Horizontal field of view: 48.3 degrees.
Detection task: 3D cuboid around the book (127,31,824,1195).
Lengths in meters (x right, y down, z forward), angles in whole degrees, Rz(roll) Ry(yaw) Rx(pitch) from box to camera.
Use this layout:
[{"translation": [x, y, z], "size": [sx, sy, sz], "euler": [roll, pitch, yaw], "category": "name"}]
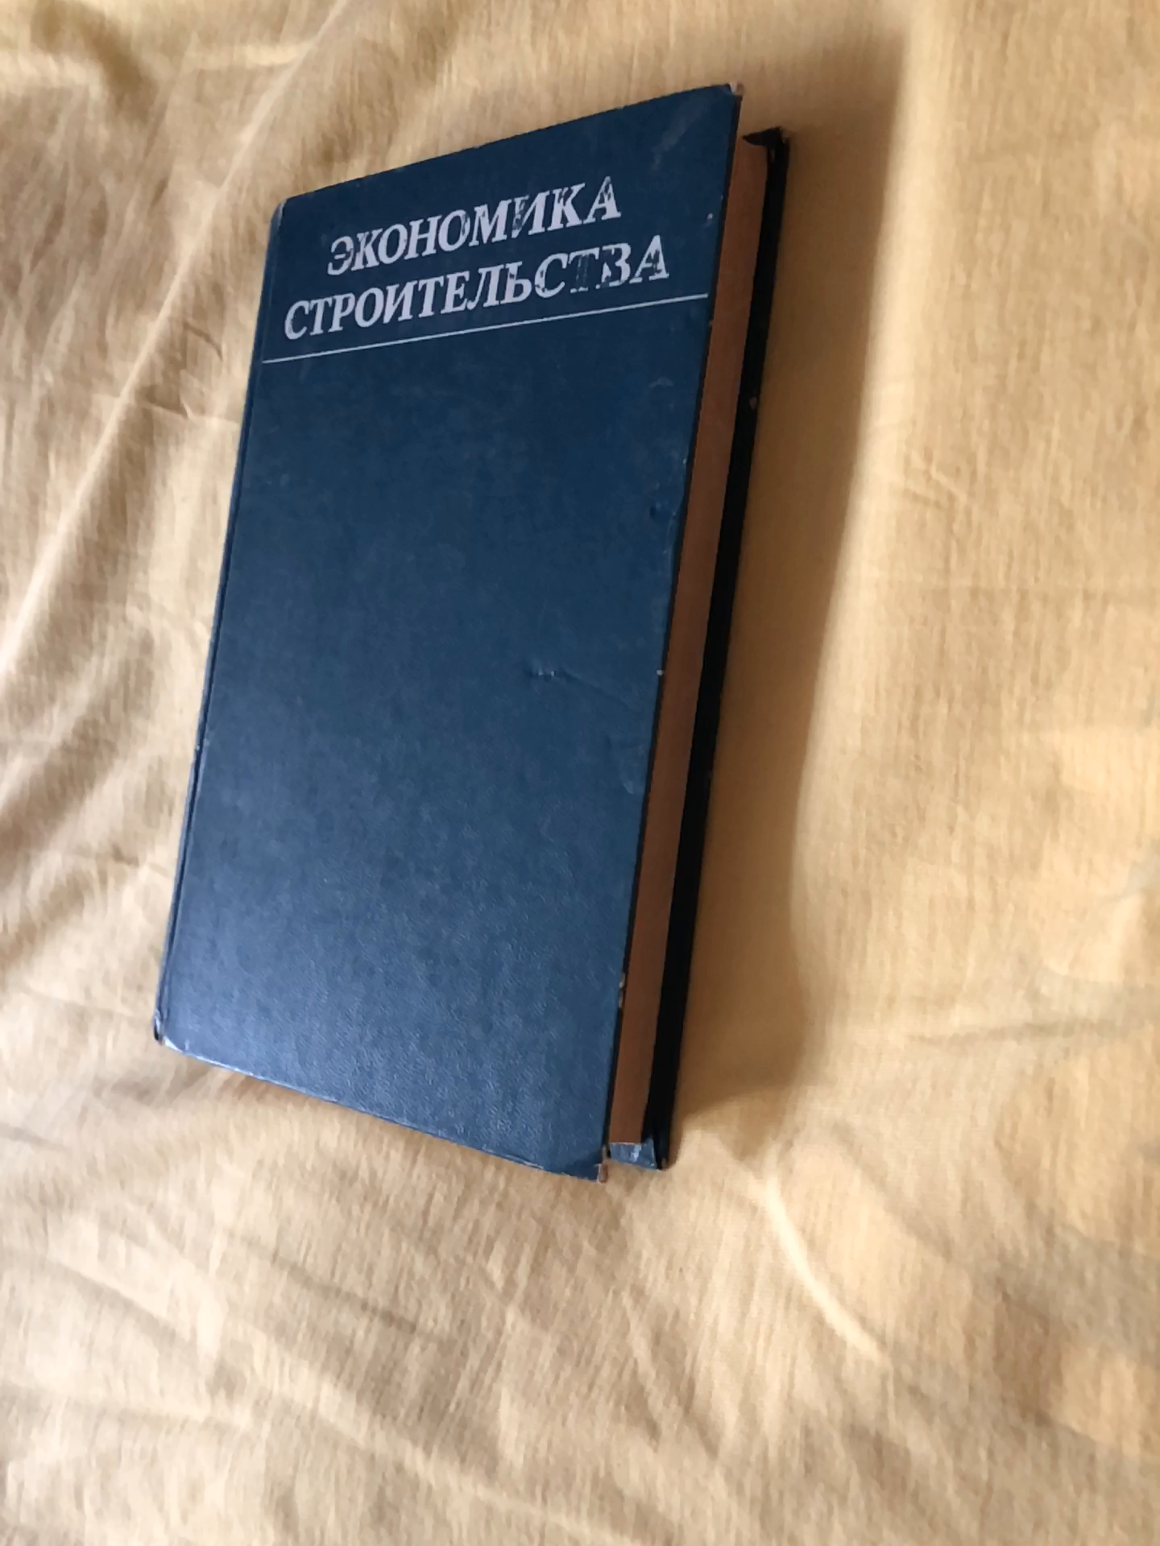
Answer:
[{"translation": [-0.027, -0.032, 0.268], "size": [0.130, 0.030, 0.200], "euler": [5, 86, 35], "category": "book"}]
